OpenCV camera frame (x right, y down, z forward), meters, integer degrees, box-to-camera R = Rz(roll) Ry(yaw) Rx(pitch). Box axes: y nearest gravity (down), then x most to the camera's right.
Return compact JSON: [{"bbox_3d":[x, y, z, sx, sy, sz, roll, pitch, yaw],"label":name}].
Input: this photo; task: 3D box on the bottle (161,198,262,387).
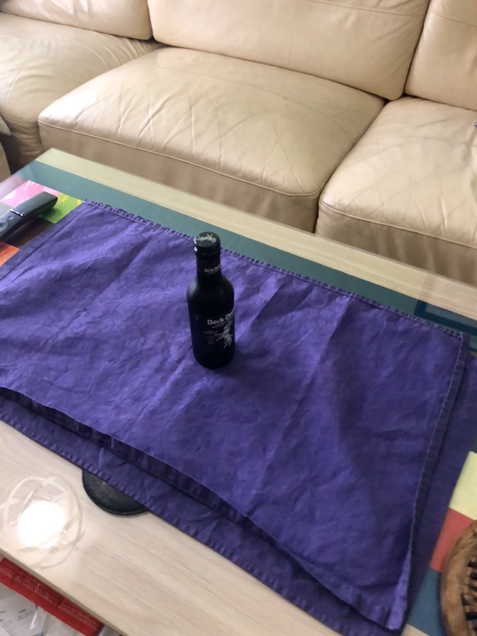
[{"bbox_3d":[-0.027,-0.021,0.588,0.070,0.199,0.070,0,48,0],"label":"bottle"}]
